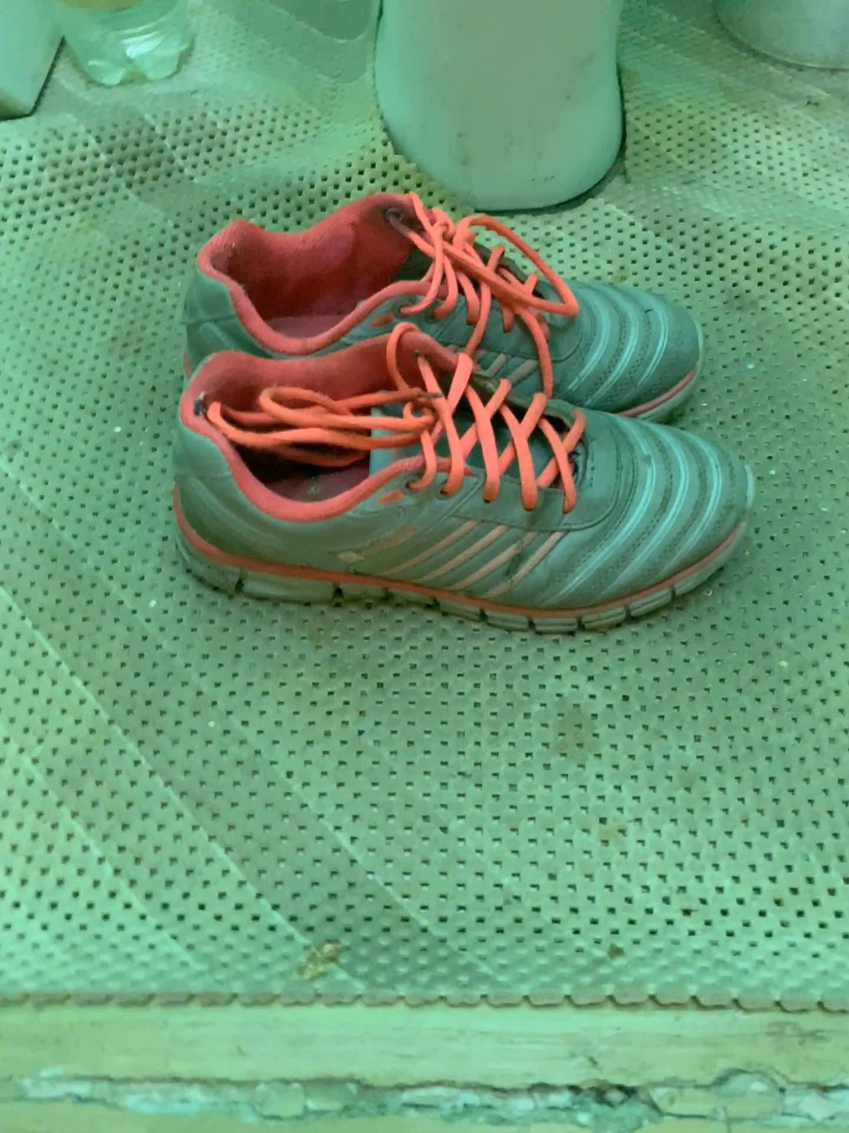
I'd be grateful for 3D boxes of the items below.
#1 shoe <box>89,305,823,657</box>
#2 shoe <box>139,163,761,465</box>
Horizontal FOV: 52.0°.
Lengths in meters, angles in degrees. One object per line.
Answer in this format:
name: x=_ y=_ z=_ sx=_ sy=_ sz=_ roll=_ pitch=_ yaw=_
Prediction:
shoe: x=0.013 y=-0.037 z=0.384 sx=0.268 sy=0.090 sz=0.111 roll=3 pitch=60 yaw=2
shoe: x=0.010 y=-0.127 z=0.444 sx=0.270 sy=0.090 sz=0.111 roll=-2 pitch=60 yaw=-1
